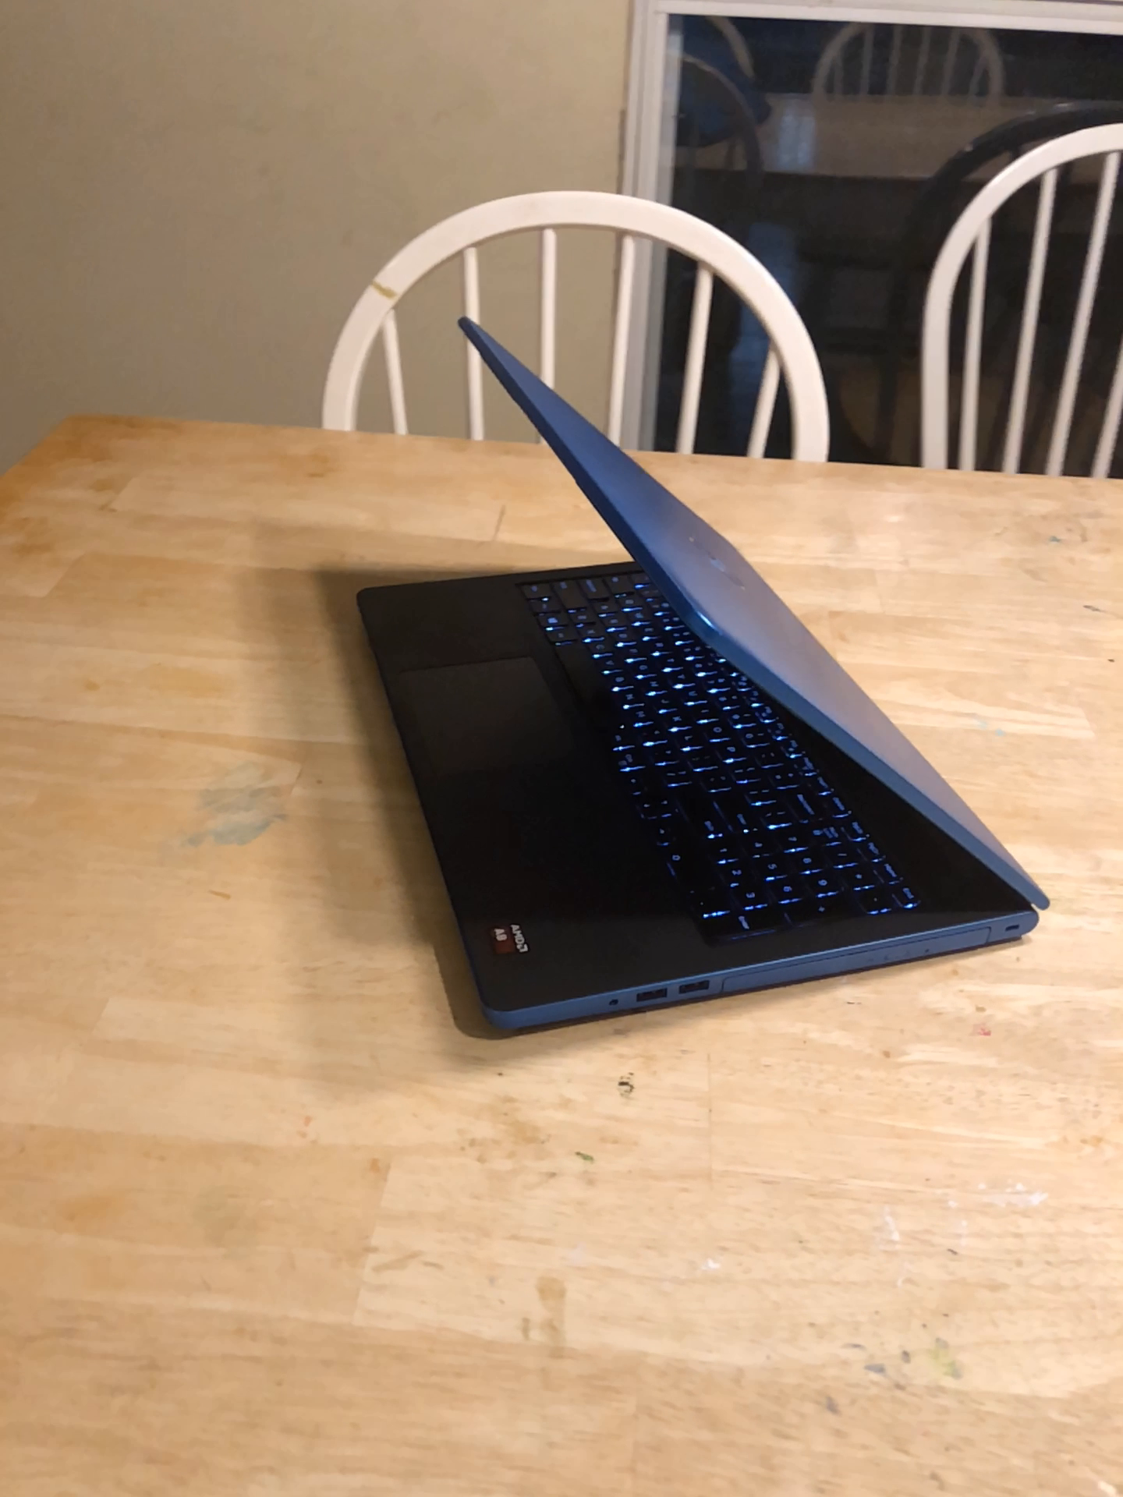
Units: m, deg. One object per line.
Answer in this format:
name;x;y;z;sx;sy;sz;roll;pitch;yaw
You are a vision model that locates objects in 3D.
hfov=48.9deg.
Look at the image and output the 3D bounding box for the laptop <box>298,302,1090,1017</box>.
laptop;0.023;-0.081;0.612;0.248;0.159;0.363;-9;36;-14
